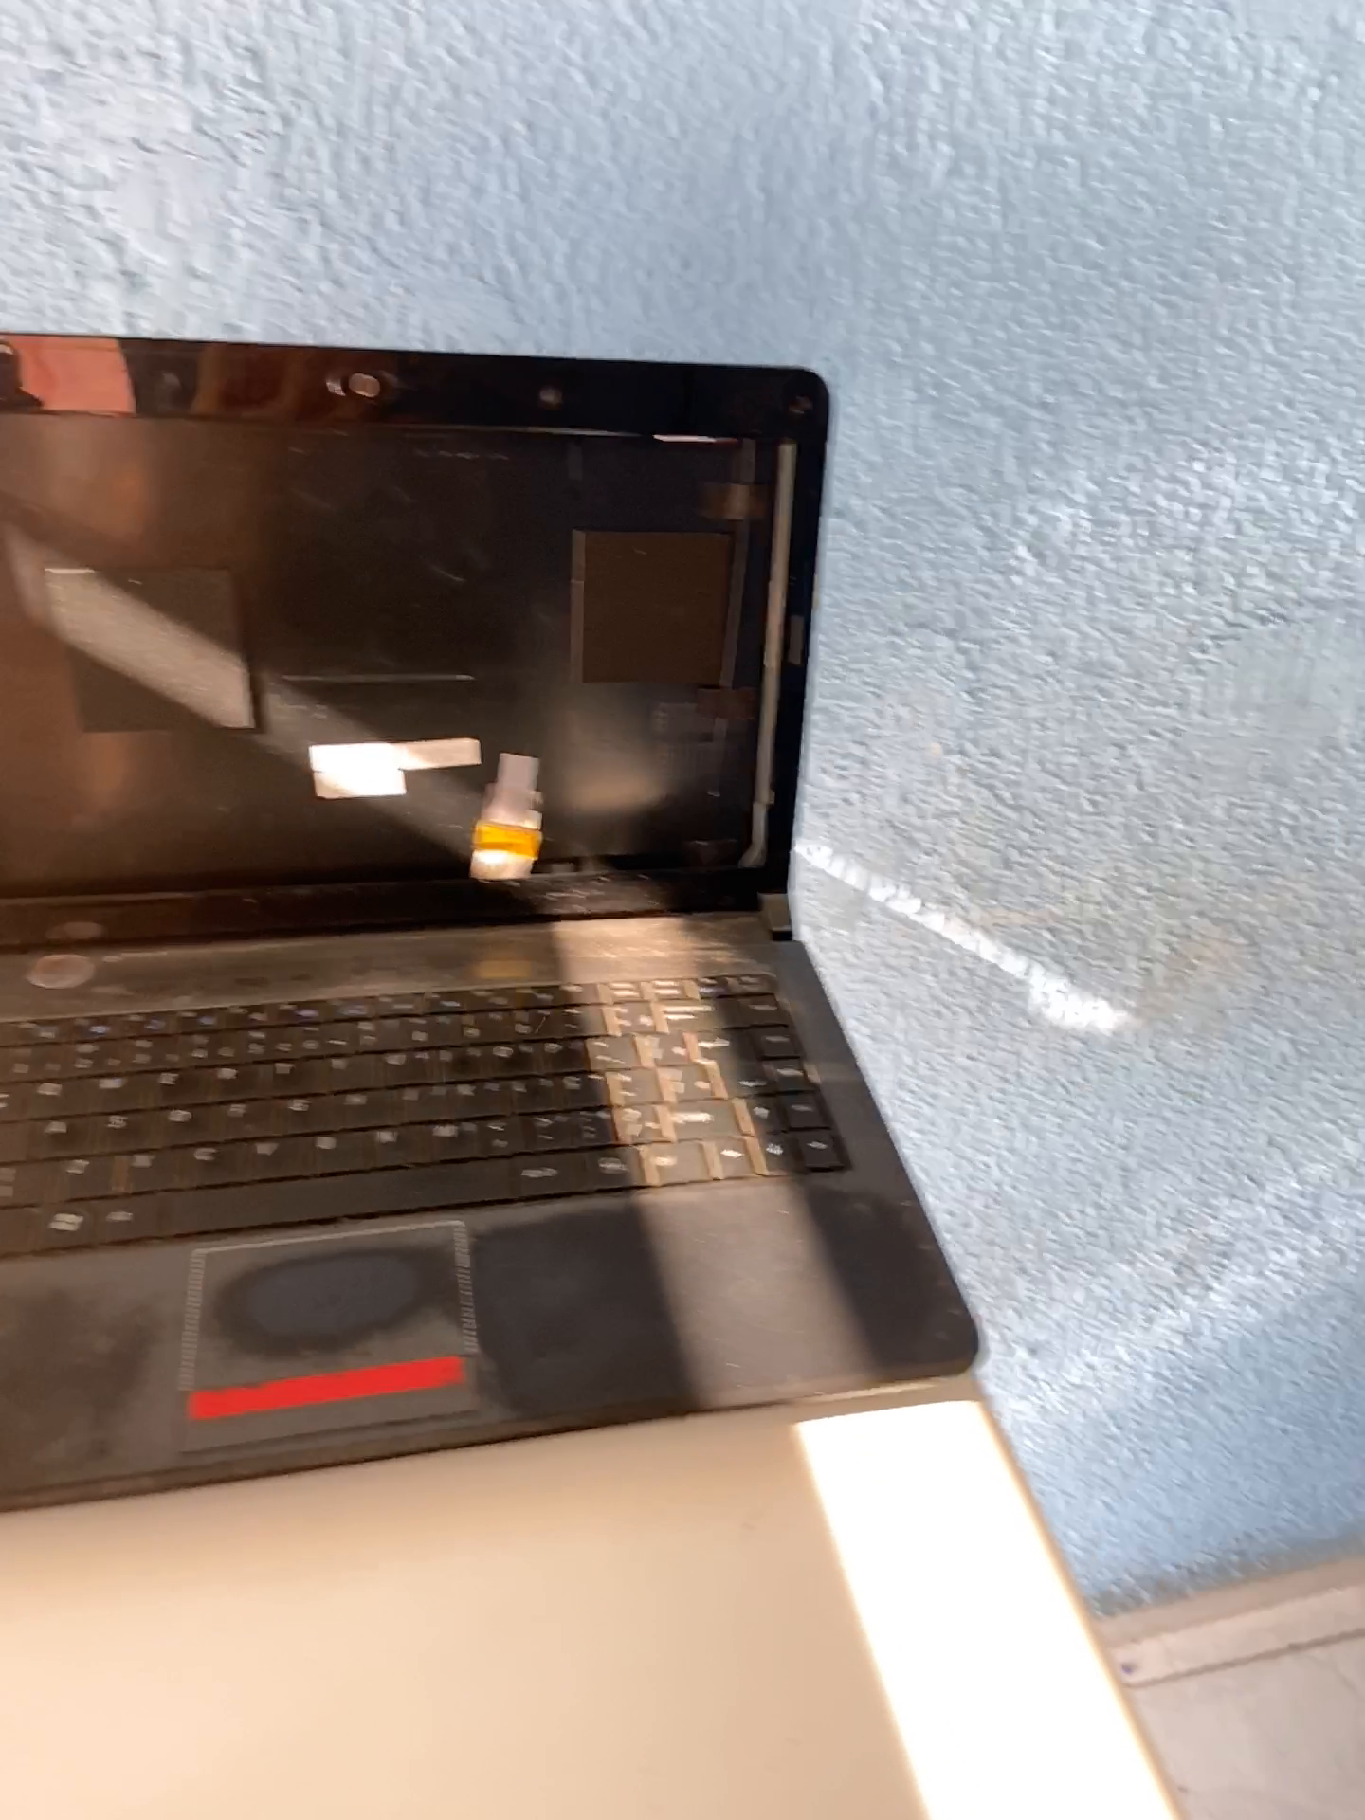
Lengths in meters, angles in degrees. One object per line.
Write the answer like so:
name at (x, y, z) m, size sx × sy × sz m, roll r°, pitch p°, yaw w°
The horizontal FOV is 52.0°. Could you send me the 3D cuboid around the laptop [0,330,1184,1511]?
laptop at (-0.091, -0.023, 0.445) m, size 0.334 × 0.216 × 0.277 m, roll -3°, pitch 36°, yaw -13°
